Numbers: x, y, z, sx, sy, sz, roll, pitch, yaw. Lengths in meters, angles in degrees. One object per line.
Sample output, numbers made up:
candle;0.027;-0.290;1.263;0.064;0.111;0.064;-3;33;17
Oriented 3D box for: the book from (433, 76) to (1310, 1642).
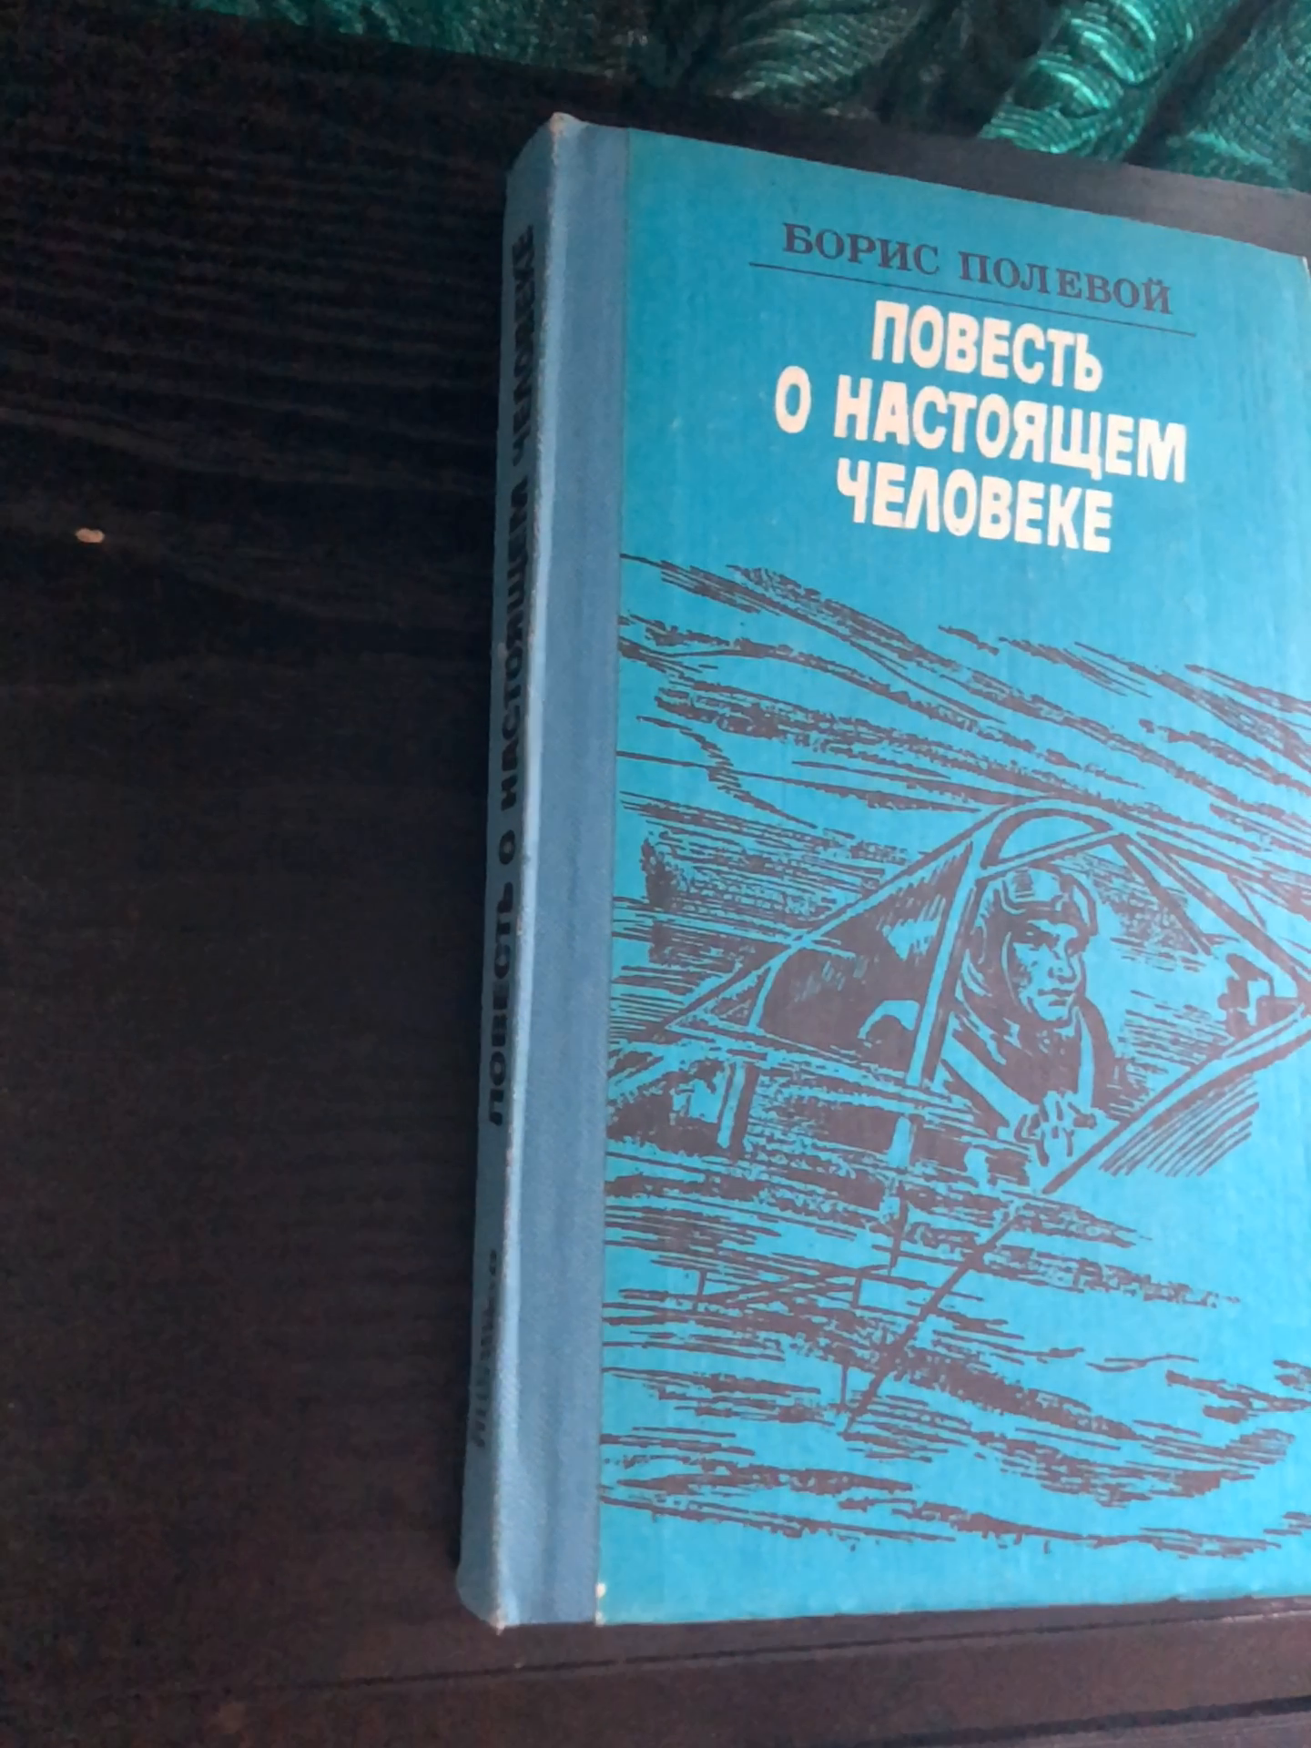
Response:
book;0.037;-0.008;0.196;0.123;0.019;0.190;4;76;-13
